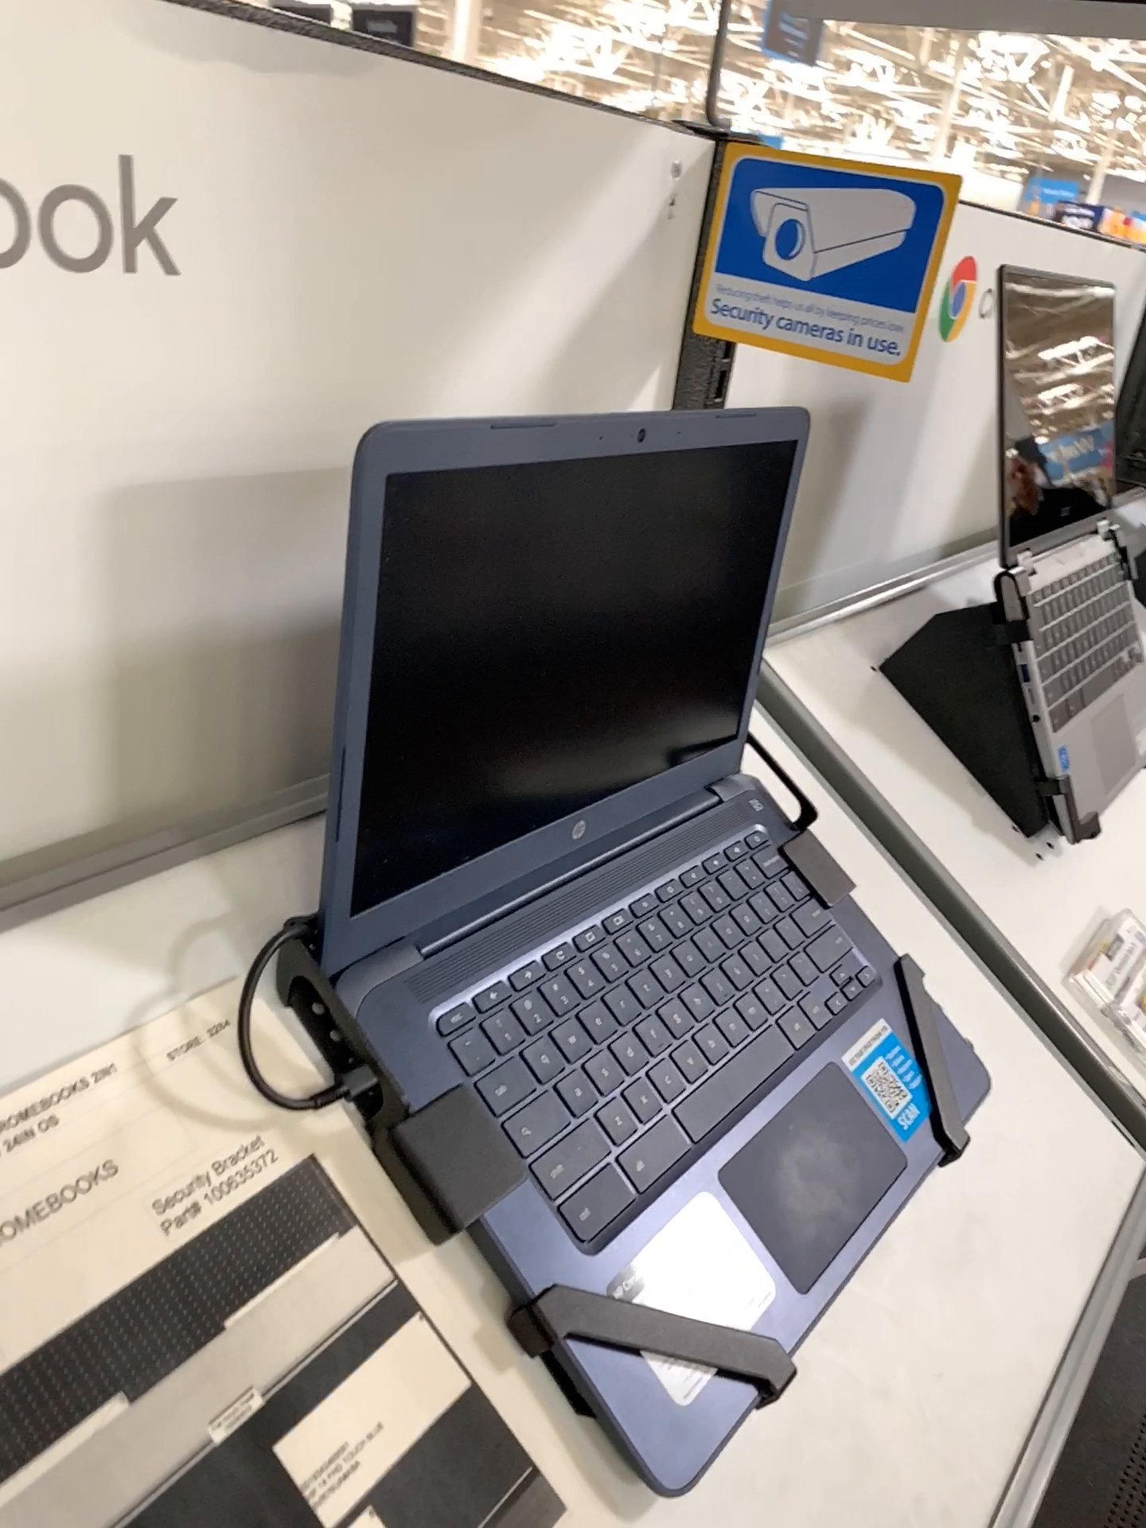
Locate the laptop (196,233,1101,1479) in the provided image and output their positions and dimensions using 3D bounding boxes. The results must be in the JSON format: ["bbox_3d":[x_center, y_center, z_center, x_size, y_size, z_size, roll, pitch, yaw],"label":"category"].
[{"bbox_3d":[0.048,-0.008,0.527,0.322,0.190,0.318,46,38,19],"label":"laptop"}]
